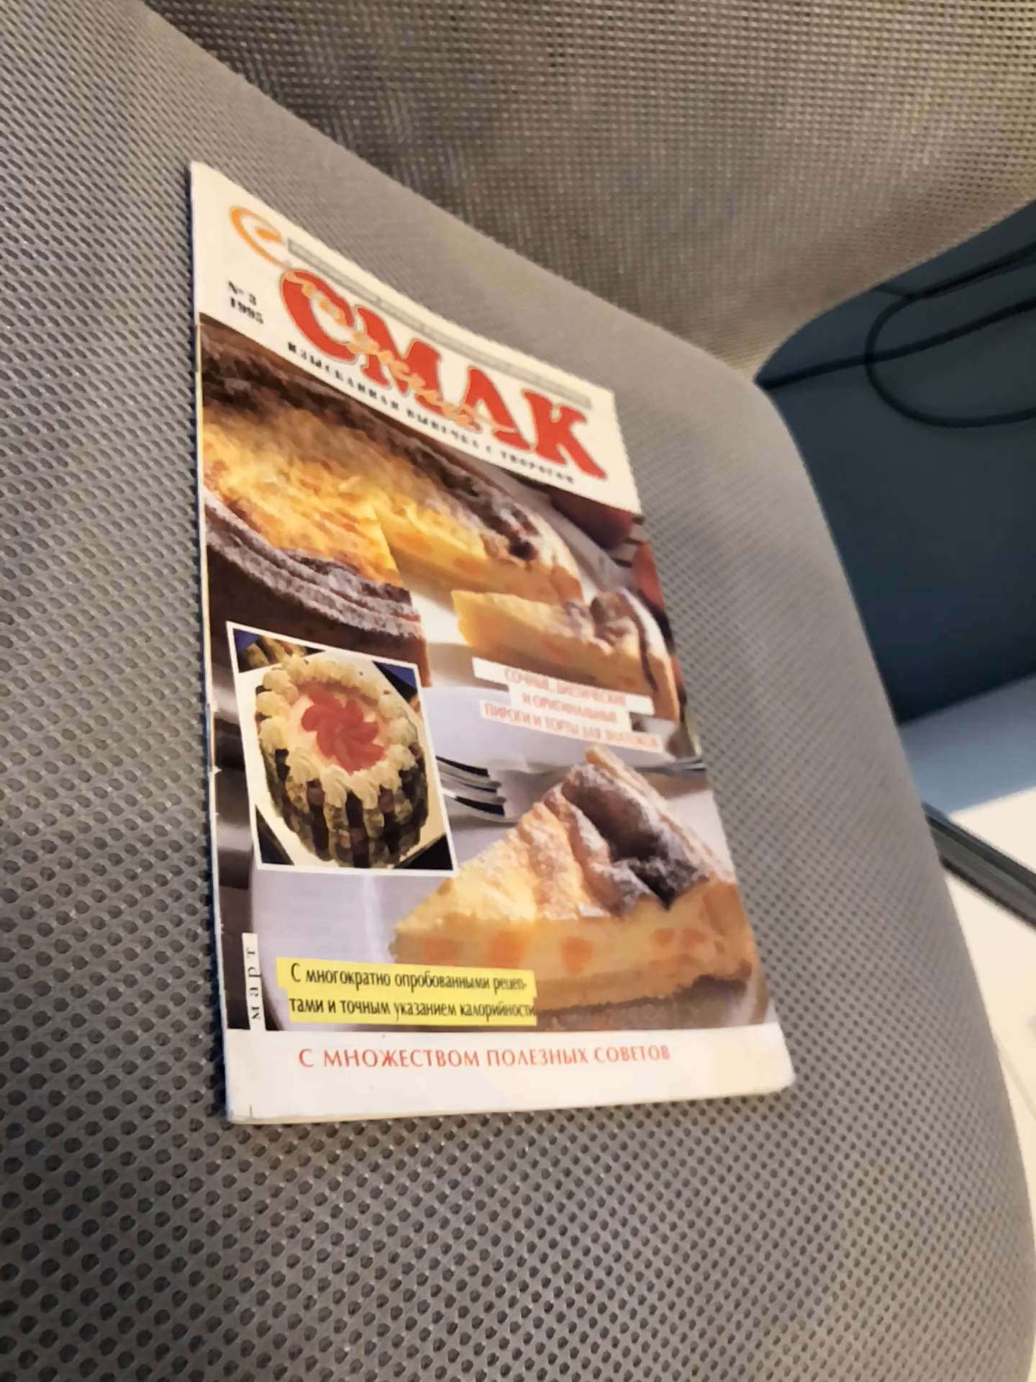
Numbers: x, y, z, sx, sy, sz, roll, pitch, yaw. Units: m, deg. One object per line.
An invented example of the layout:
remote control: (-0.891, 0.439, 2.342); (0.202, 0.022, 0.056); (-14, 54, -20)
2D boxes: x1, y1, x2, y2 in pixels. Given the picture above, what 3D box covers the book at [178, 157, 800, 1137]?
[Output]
book: (-0.006, -0.012, 0.304); (0.174, 0.010, 0.231); (14, 58, -41)
